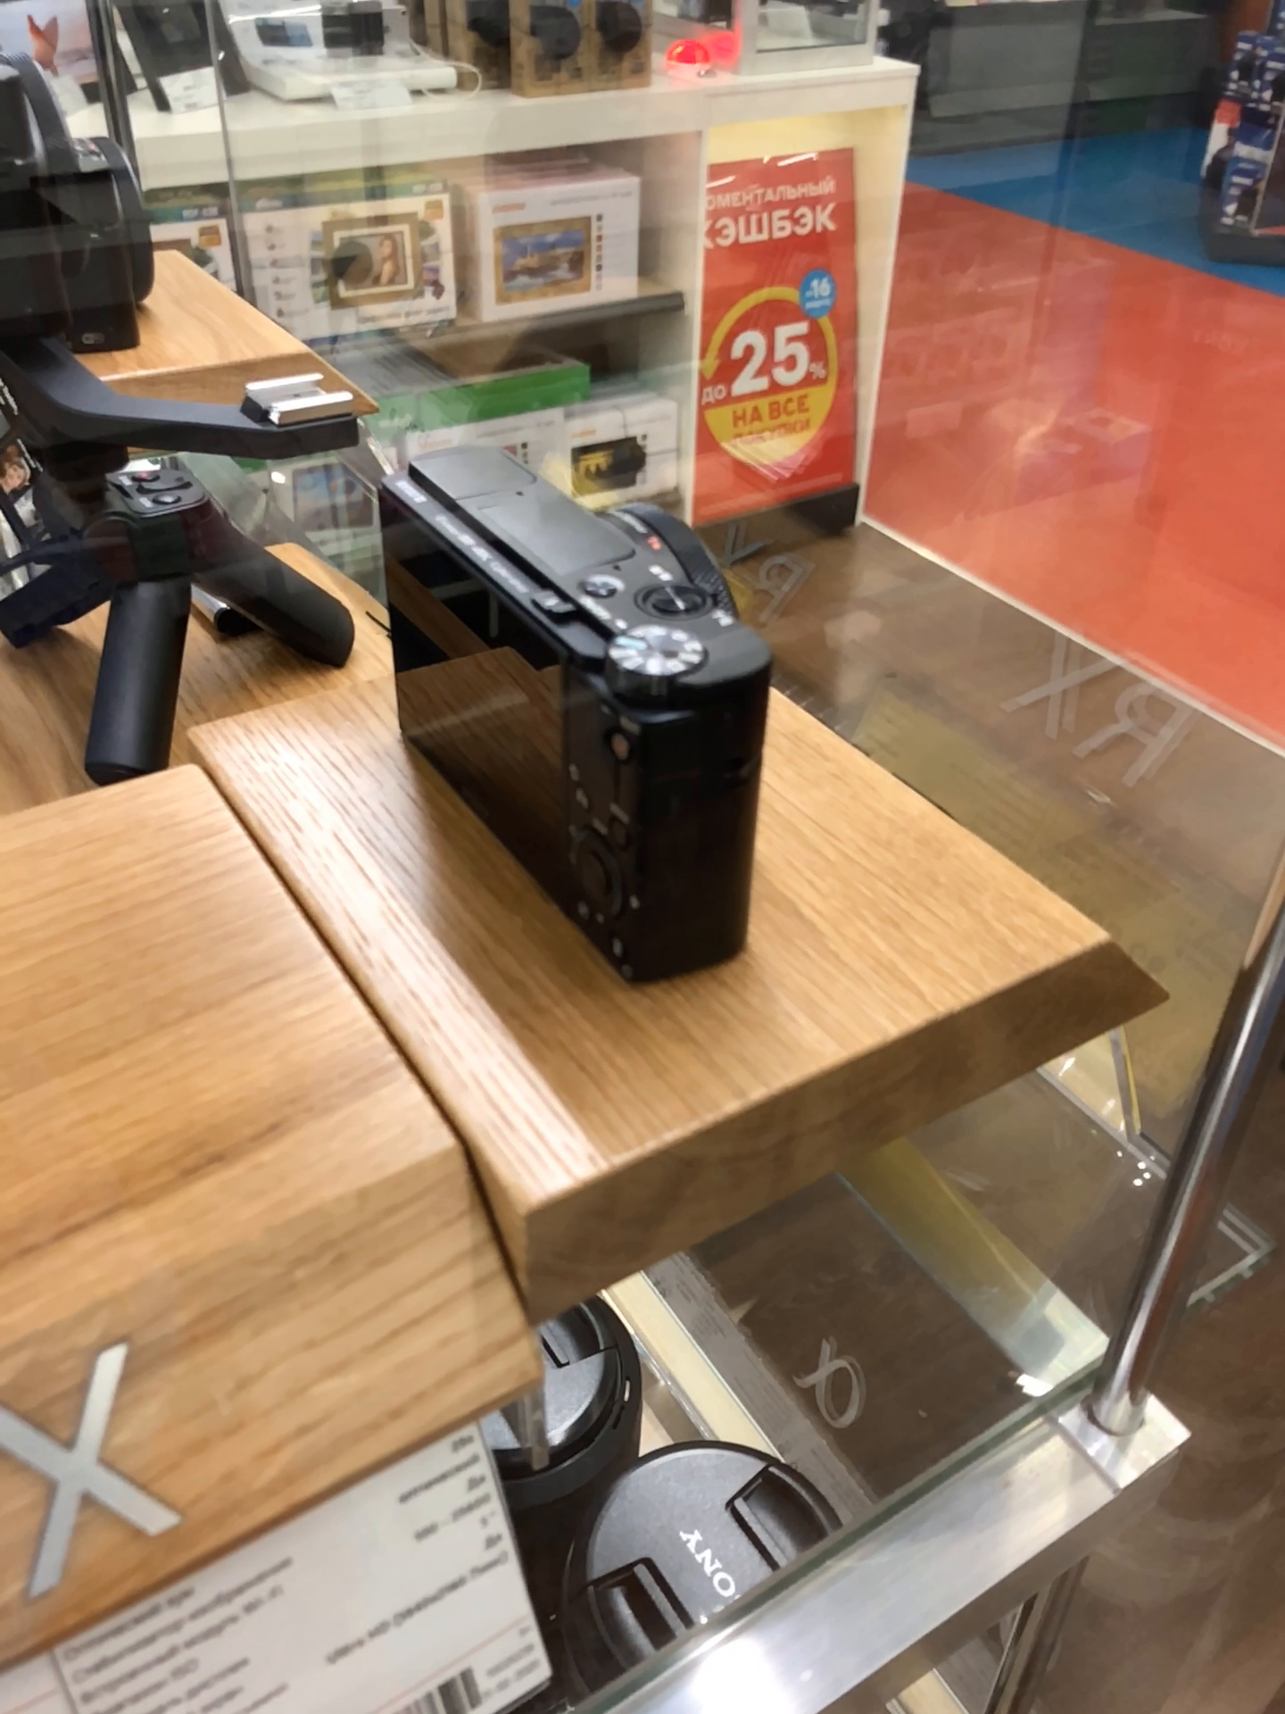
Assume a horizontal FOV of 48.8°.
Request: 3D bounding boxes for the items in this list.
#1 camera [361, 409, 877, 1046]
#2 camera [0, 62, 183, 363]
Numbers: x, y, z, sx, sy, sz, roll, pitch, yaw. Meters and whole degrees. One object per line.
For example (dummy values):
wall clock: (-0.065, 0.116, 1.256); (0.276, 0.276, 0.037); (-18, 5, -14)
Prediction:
camera: (-0.009, -0.028, 0.259); (0.040, 0.070, 0.100); (-20, 42, -26)
camera: (-0.216, -0.239, 0.518); (0.040, 0.070, 0.143); (-20, 42, -26)
